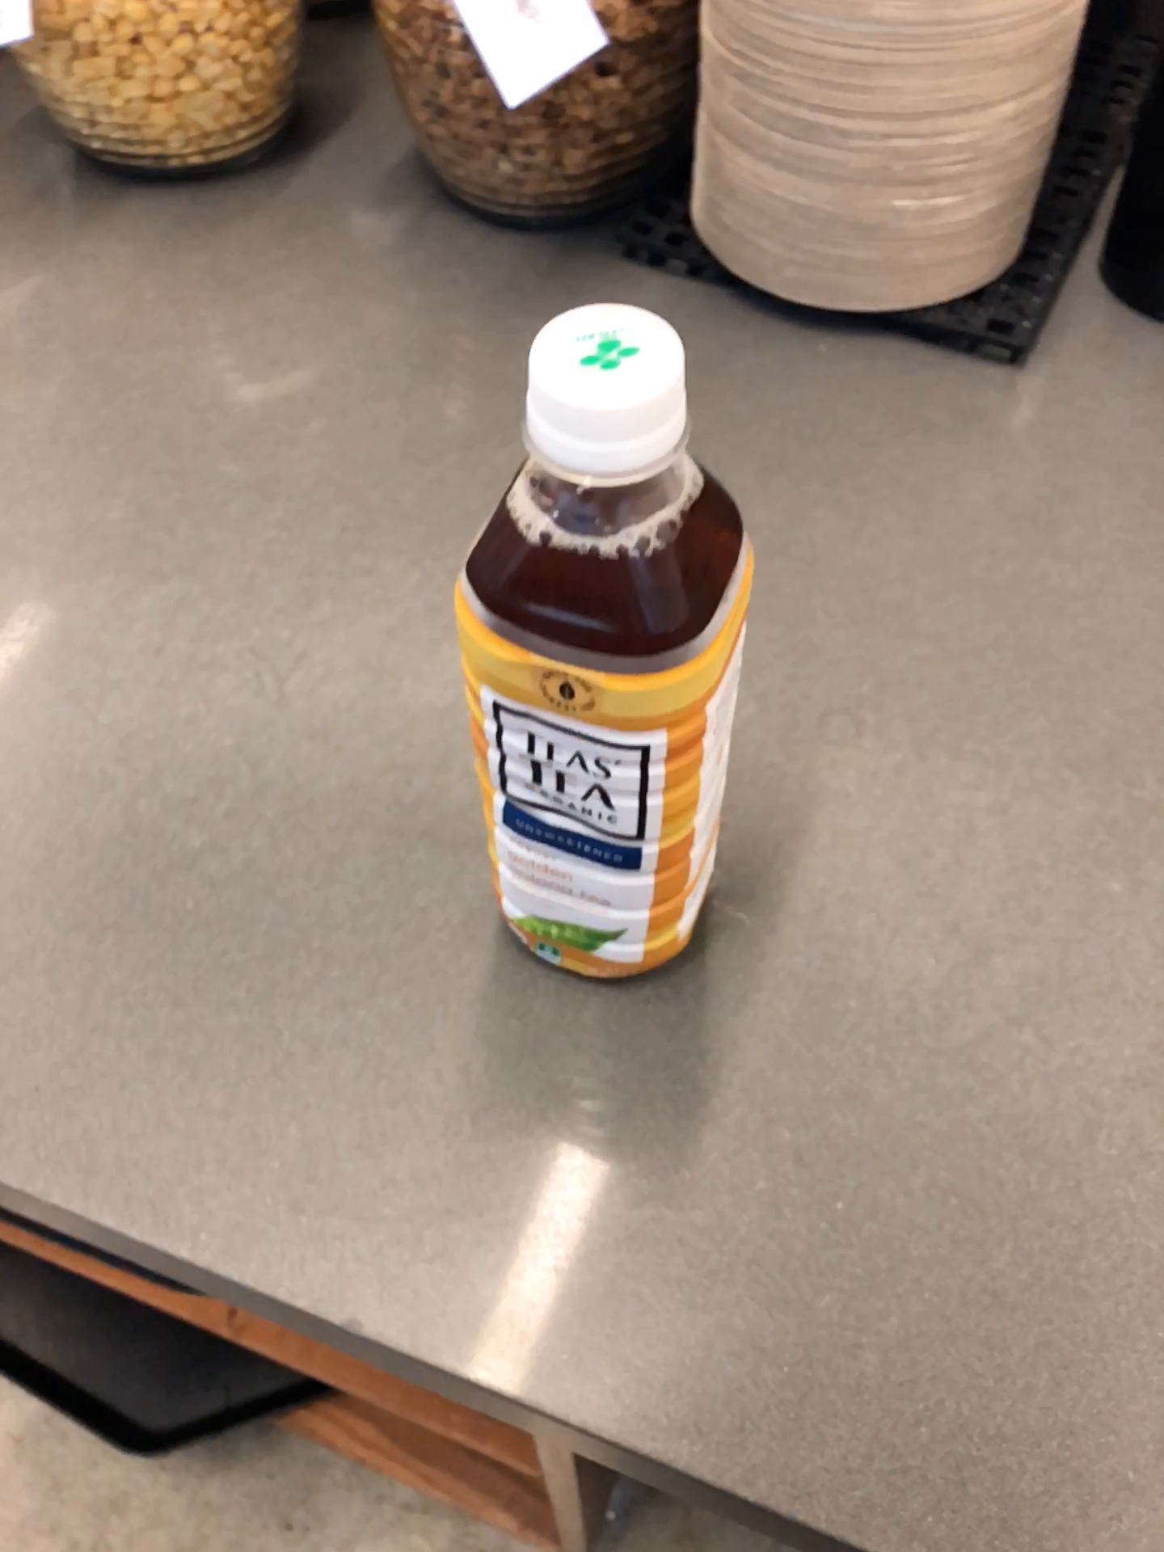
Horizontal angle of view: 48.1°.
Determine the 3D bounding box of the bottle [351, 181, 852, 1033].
[{"bbox_3d":[0.007,-0.022,0.309,0.070,0.199,0.070,0,54,1],"label":"bottle"}]
